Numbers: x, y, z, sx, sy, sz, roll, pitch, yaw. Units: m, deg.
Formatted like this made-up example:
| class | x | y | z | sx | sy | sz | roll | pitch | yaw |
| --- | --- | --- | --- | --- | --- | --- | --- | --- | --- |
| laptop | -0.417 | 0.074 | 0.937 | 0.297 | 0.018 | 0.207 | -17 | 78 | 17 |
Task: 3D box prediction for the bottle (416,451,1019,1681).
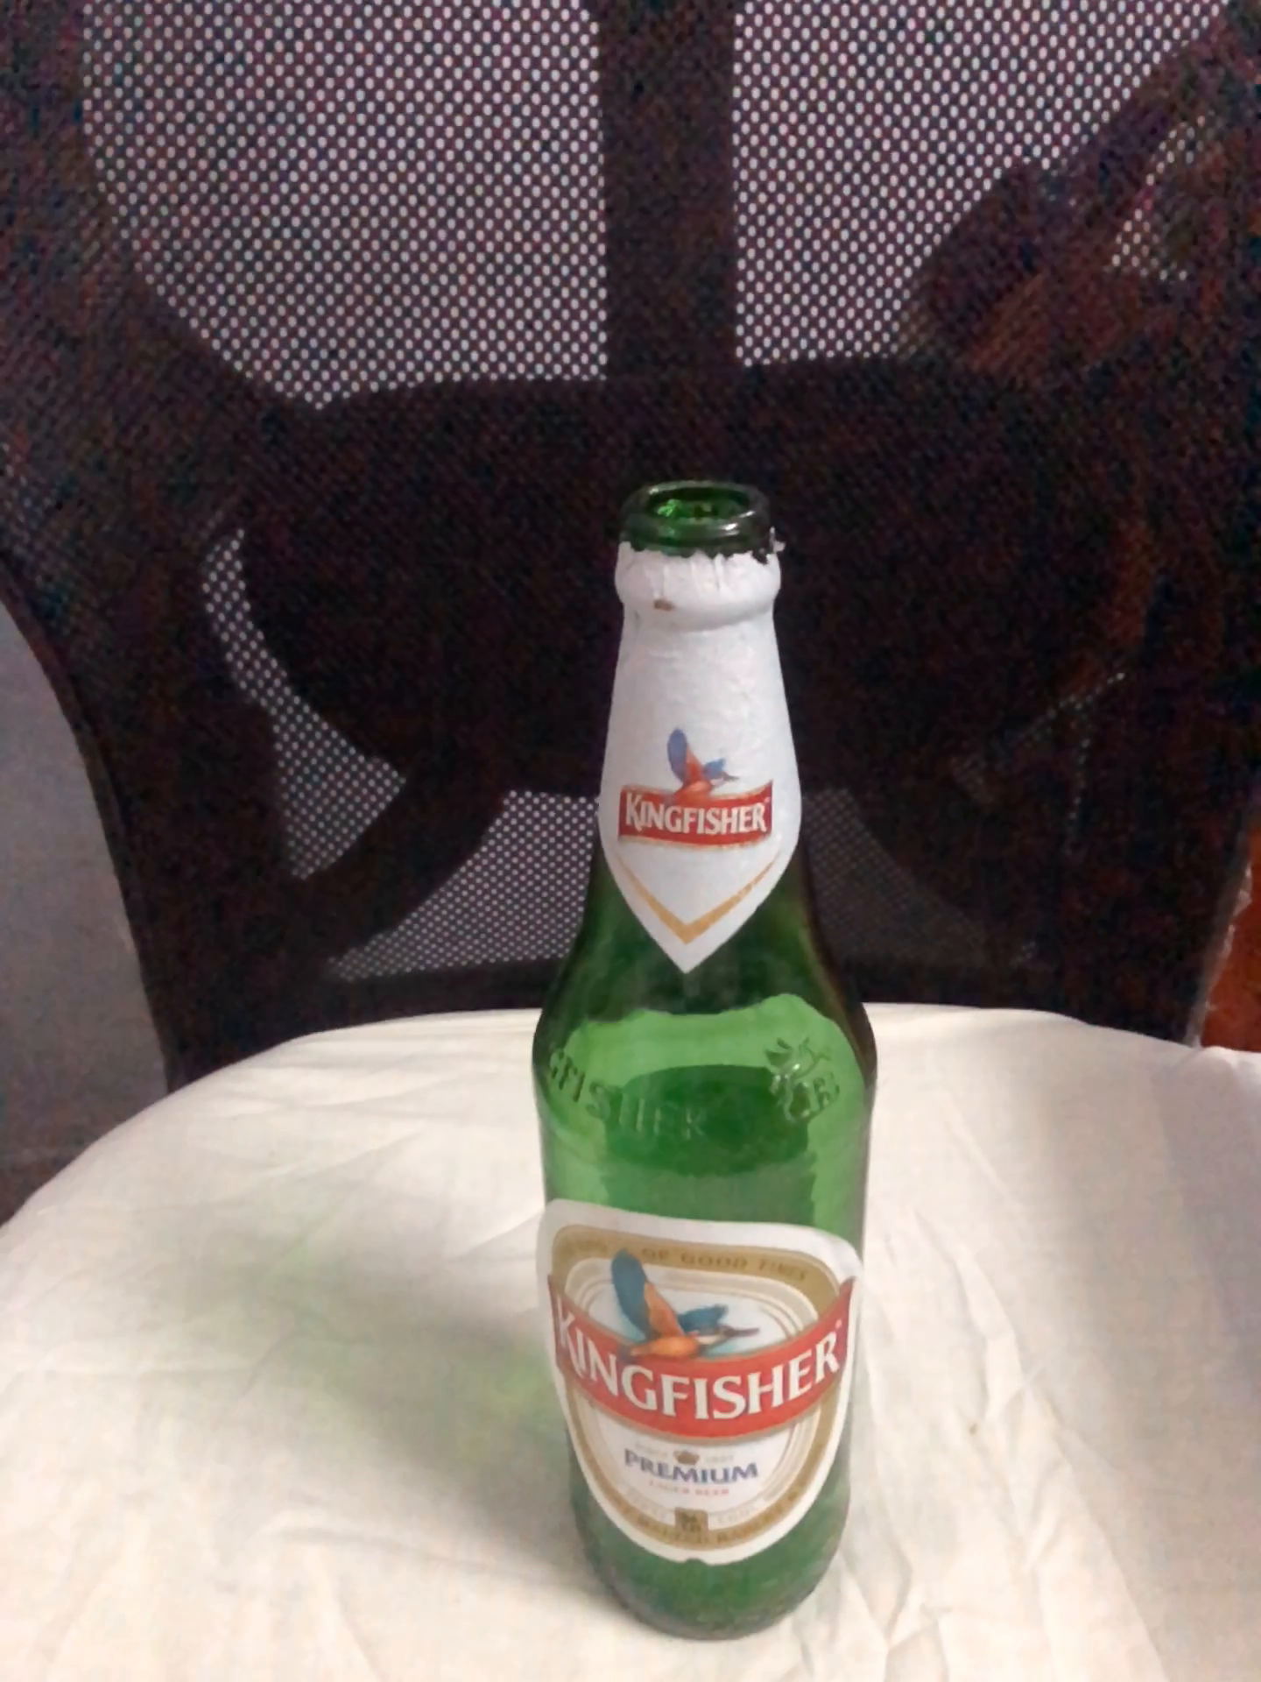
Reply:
| class | x | y | z | sx | sy | sz | roll | pitch | yaw |
| --- | --- | --- | --- | --- | --- | --- | --- | --- | --- |
| bottle | 0.020 | 0.063 | 0.281 | 0.080 | 0.259 | 0.070 | 6 | 33 | 11 |
